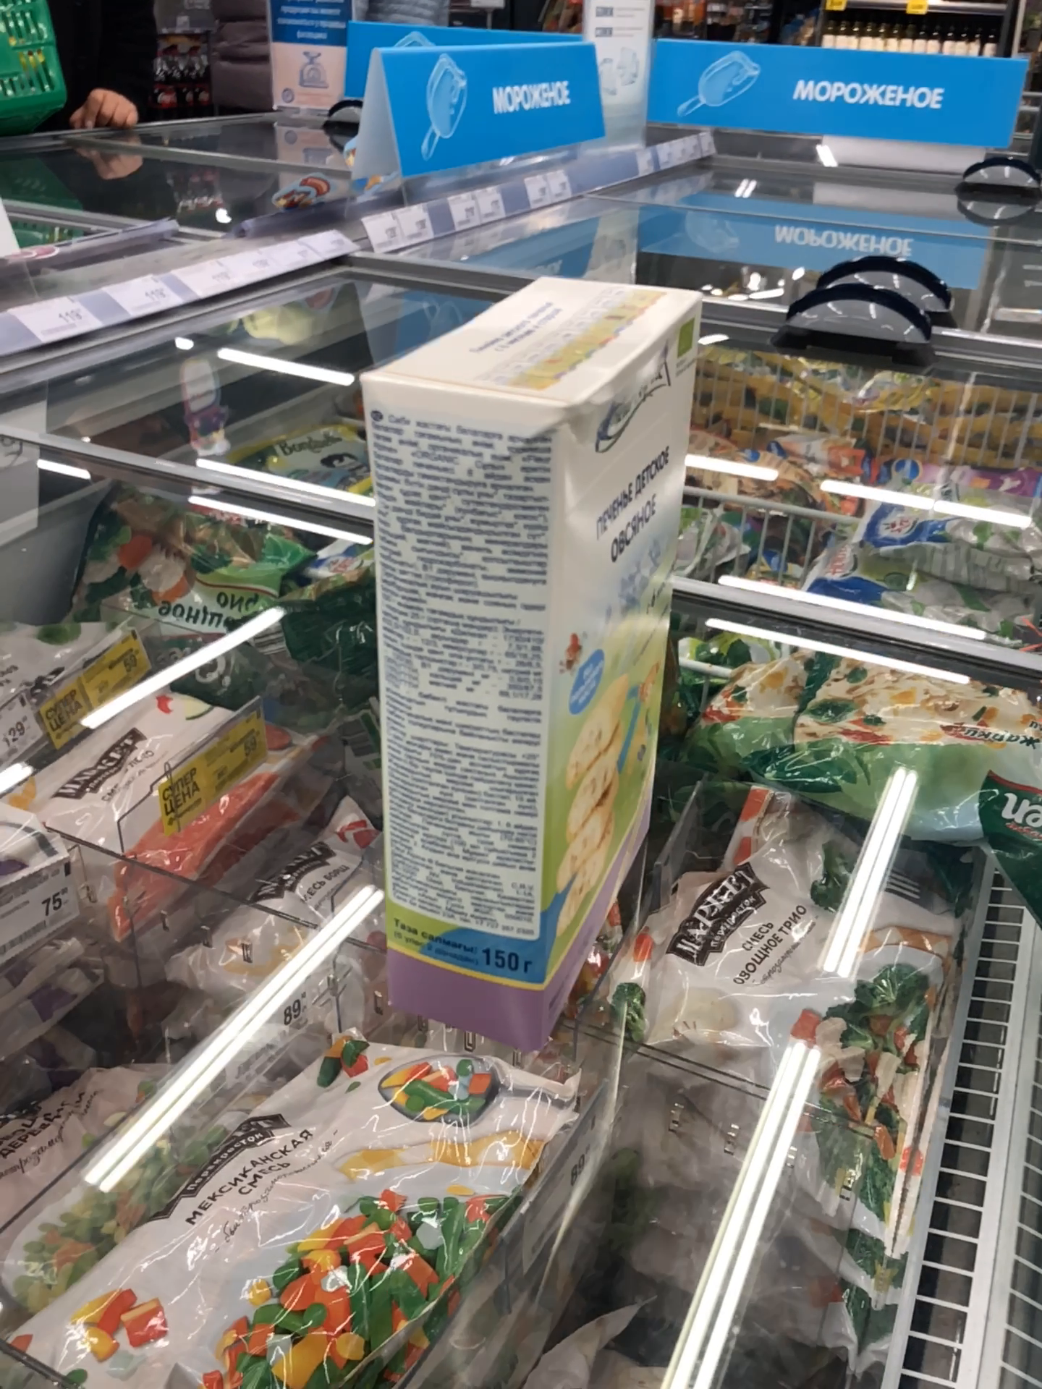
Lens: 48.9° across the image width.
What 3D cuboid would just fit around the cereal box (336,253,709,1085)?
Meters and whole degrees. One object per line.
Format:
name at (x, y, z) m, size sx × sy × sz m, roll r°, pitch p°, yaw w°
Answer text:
cereal box at (0.004, -0.010, 0.316) m, size 0.050 × 0.189 × 0.121 m, roll 12°, pitch 32°, yaw 16°
